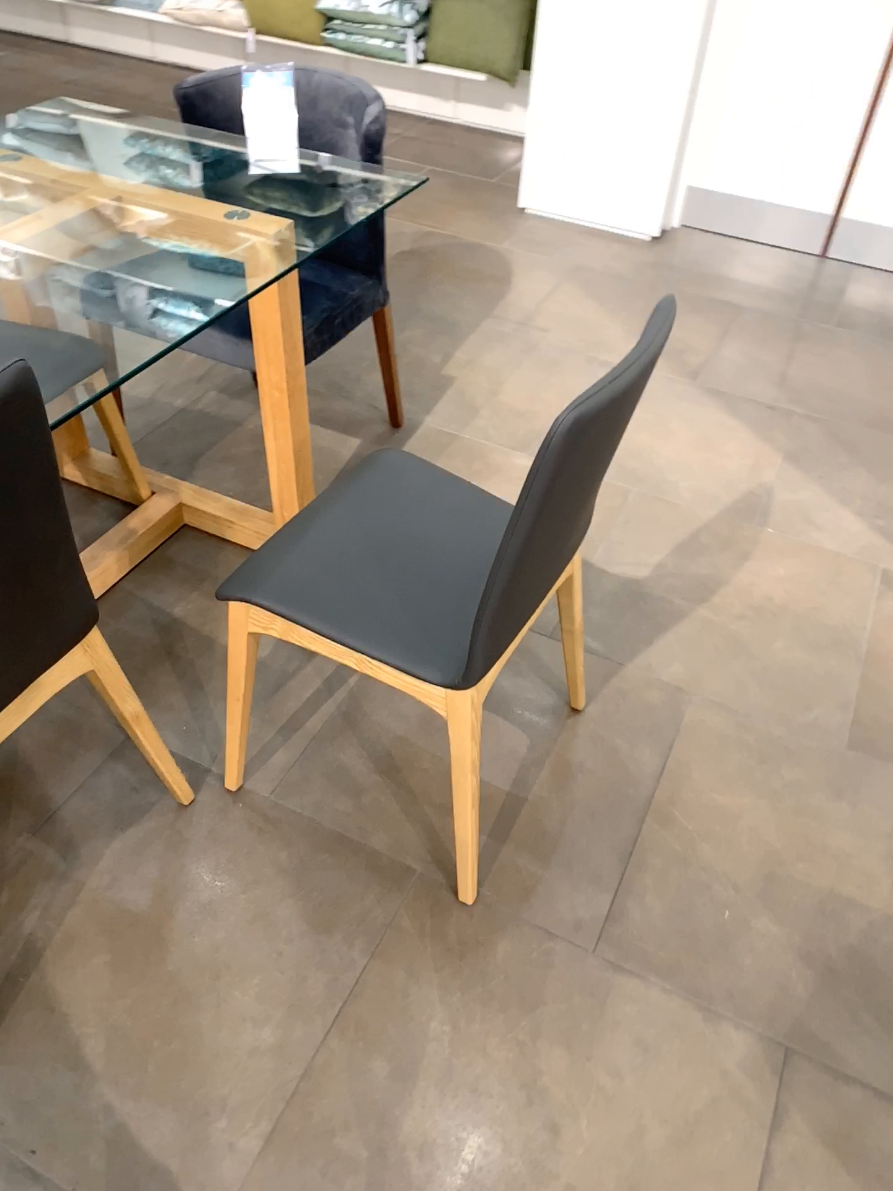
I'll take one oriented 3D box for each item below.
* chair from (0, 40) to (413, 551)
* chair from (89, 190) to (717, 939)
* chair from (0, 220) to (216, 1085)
[{"bbox_3d":[-0.444,-0.655,1.991,0.543,0.813,0.591,16,44,13],"label":"chair"},{"bbox_3d":[-0.035,-0.046,1.358,0.537,0.813,0.567,22,46,19],"label":"chair"},{"bbox_3d":[-0.704,0.086,1.141,0.497,0.833,0.526,20,45,17],"label":"chair"}]
